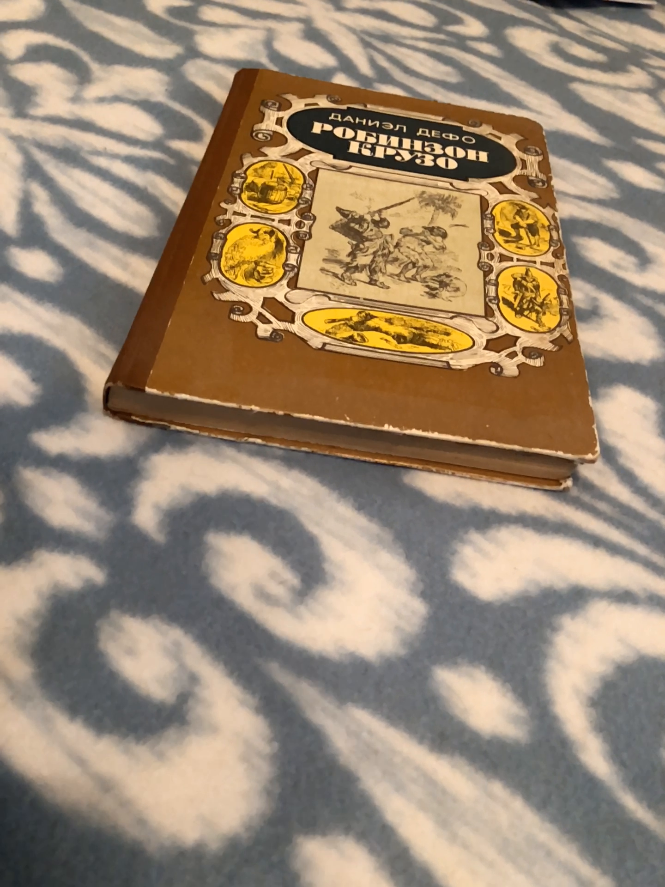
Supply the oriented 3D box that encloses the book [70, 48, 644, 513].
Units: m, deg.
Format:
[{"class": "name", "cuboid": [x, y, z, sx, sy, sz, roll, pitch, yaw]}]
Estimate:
[{"class": "book", "cuboid": [0.020, -0.091, 0.313, 0.178, 0.024, 0.243, 9, 50, -1]}]
